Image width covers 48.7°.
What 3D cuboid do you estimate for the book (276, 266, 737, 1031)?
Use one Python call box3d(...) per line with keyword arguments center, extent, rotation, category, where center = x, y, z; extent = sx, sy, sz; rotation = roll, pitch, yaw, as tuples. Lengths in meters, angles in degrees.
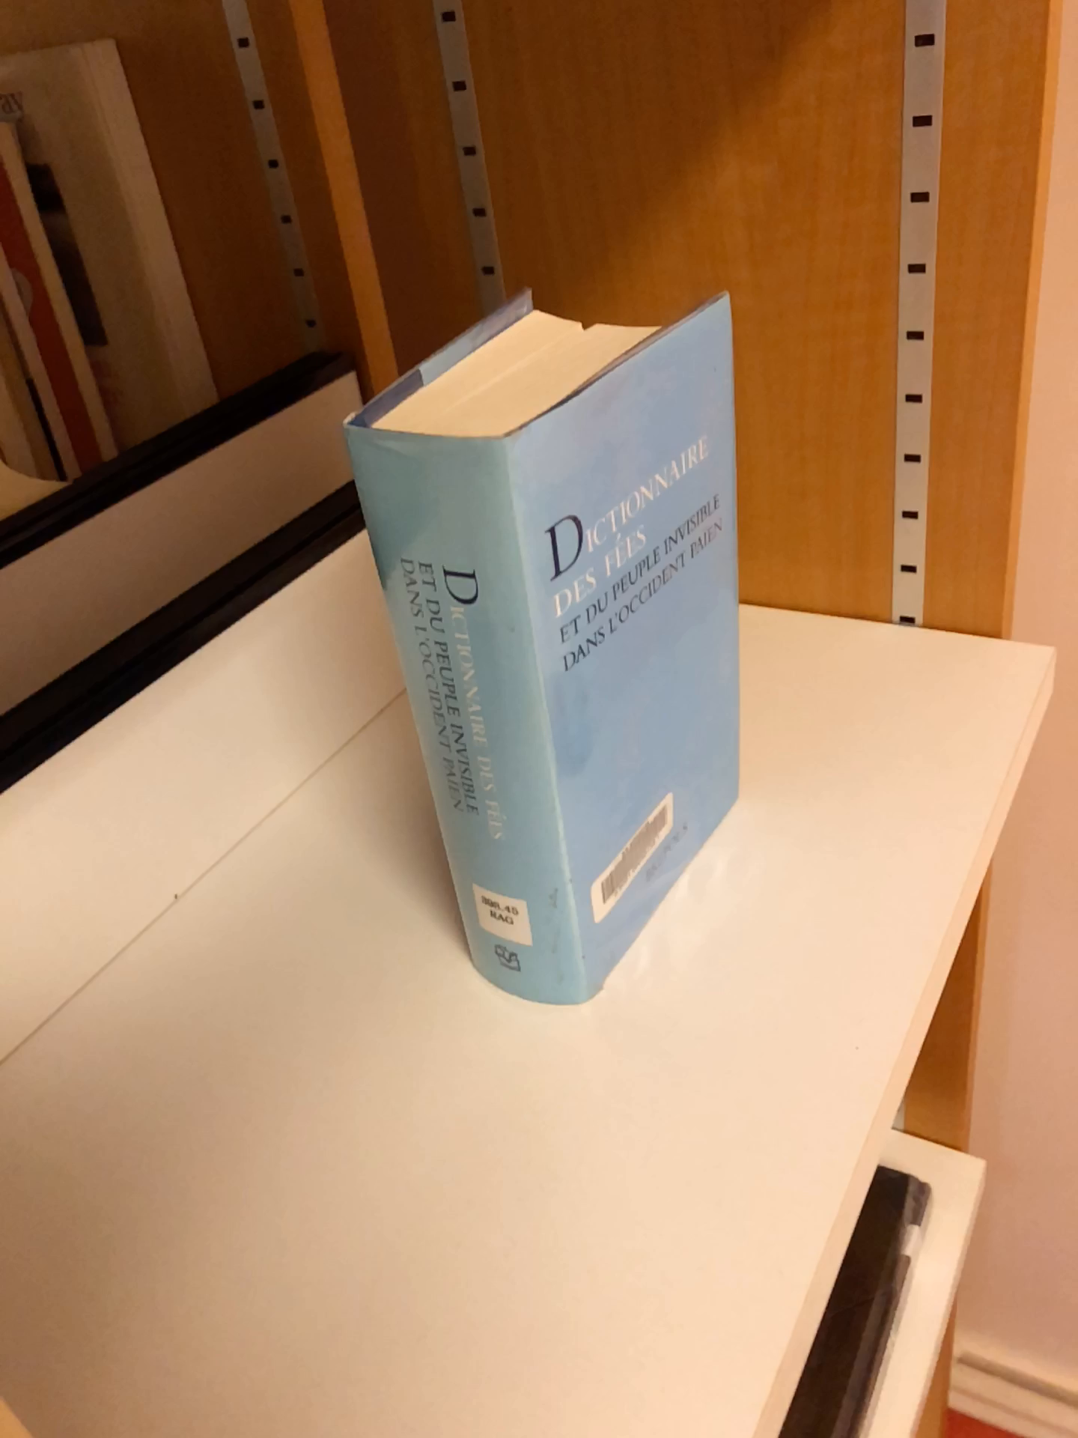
box3d(center=(0.006, -0.023, 0.362), extent=(0.060, 0.186, 0.126), rotation=(14, 40, 29), category="book")
